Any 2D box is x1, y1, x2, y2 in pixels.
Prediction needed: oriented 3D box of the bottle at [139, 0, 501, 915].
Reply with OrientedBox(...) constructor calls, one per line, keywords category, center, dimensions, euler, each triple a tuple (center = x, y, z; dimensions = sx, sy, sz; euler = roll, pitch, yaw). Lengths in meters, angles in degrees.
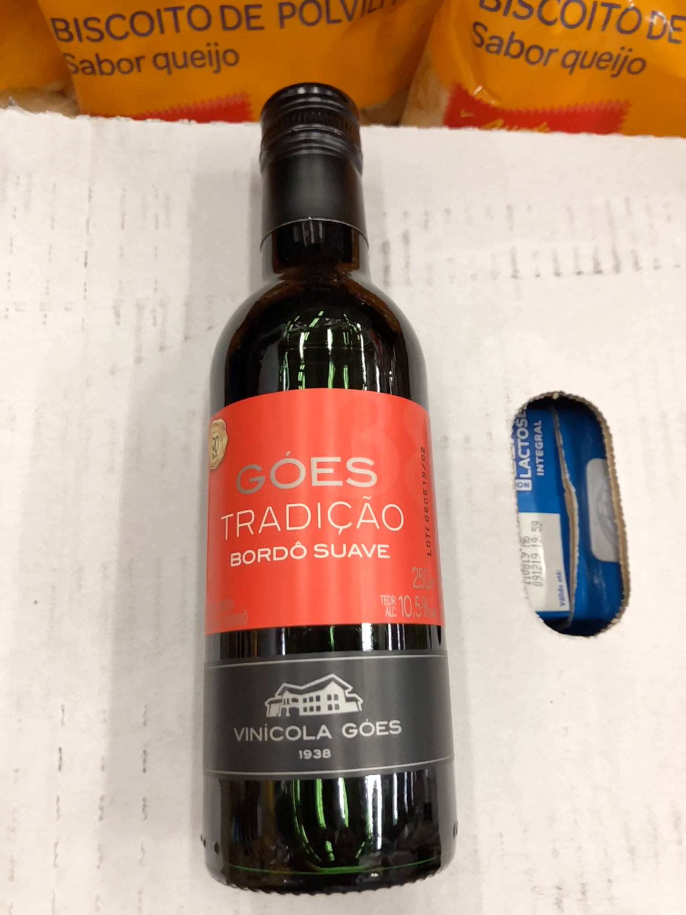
OrientedBox(category="bottle", center=(-0.013, -0.019, 0.182), dimensions=(0.060, 0.050, 0.210), euler=(-3, 74, -6))
